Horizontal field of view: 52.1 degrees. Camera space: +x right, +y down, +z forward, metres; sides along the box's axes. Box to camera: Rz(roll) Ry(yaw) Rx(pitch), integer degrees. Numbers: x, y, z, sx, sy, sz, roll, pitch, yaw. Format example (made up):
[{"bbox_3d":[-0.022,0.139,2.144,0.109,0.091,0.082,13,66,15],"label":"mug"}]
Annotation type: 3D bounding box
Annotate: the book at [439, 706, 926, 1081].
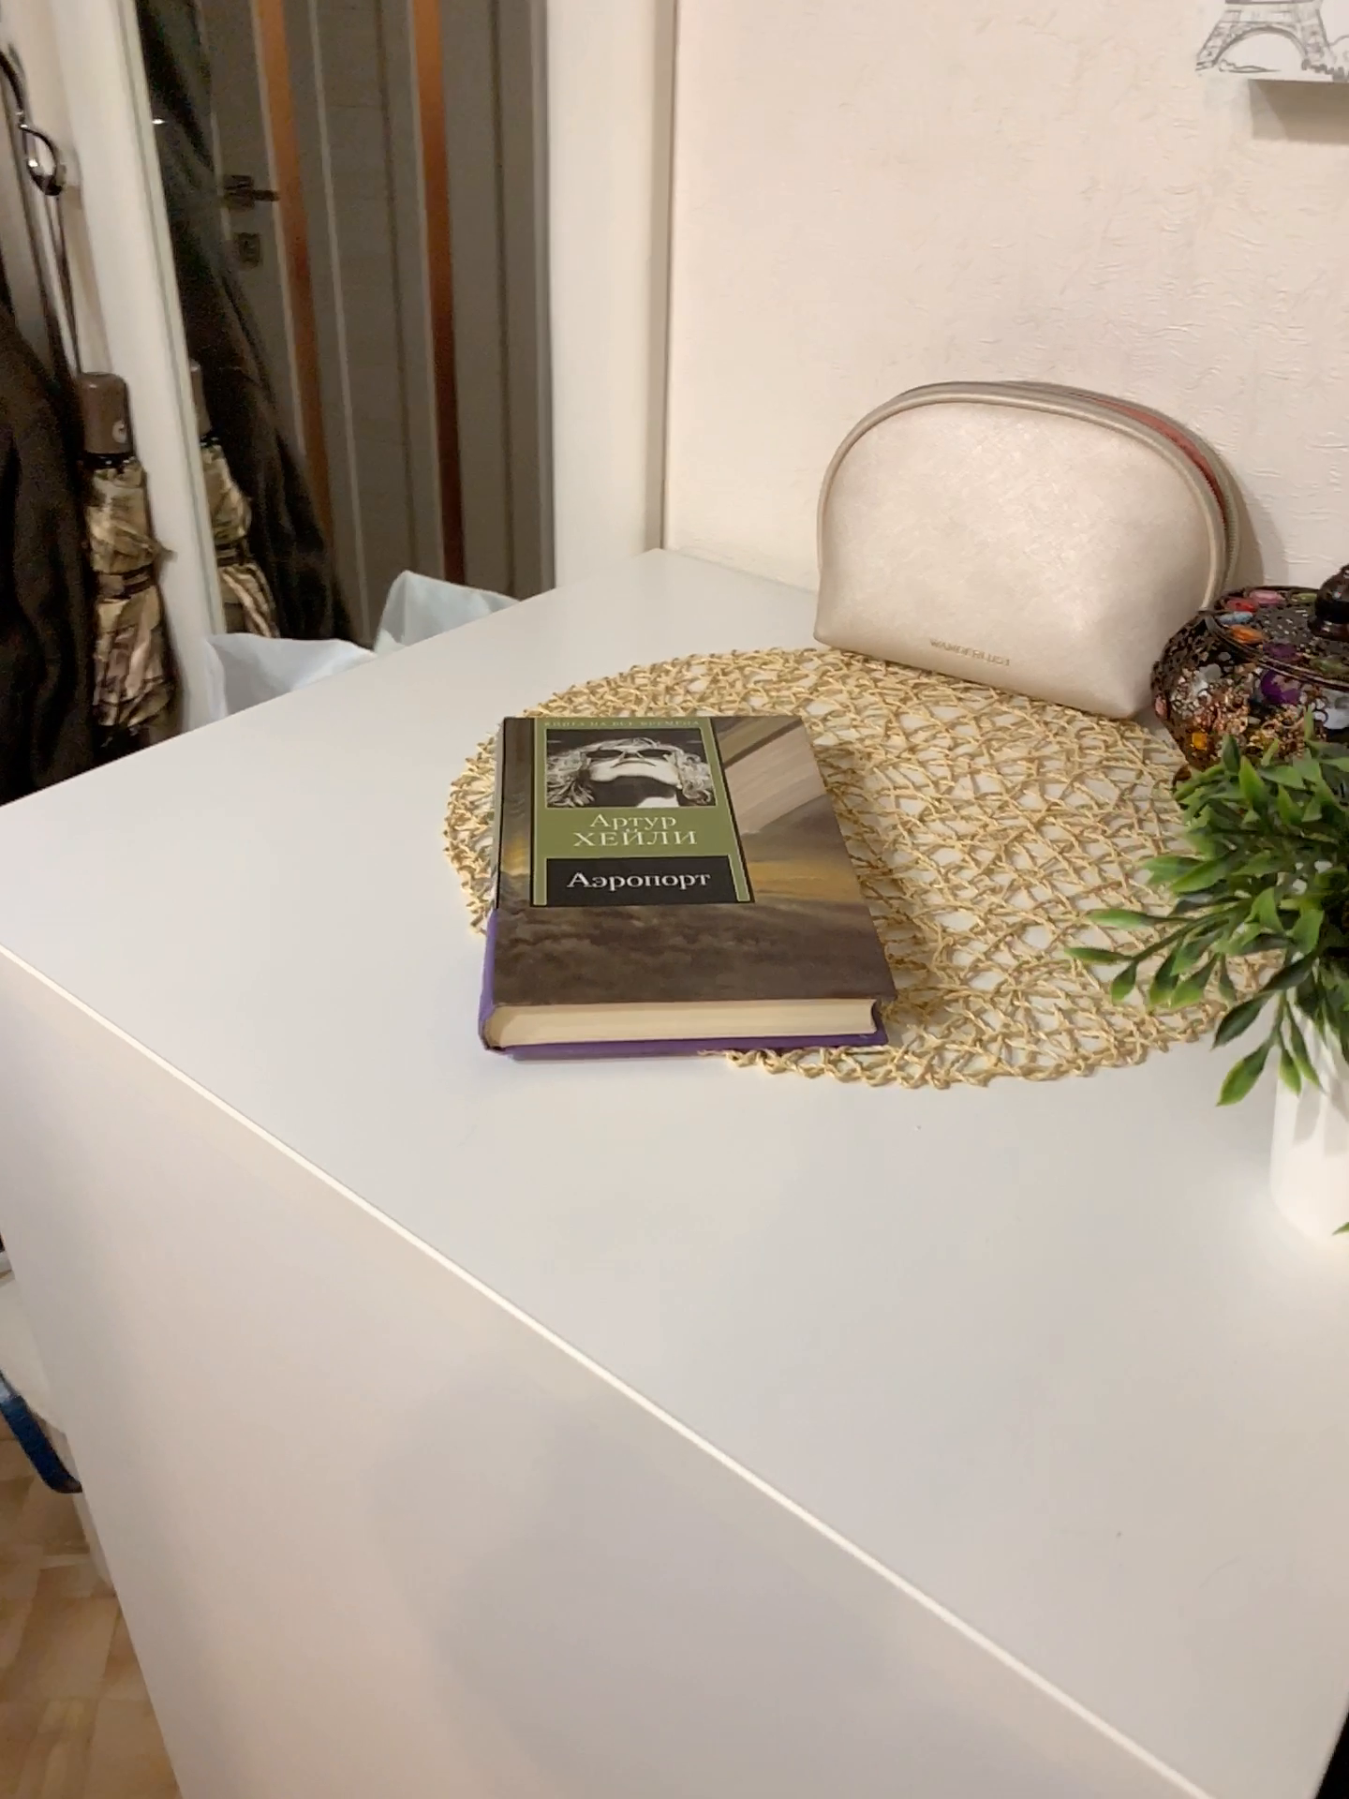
[{"bbox_3d":[-0.005,-0.016,0.527,0.150,0.020,0.232,-1,32,-4],"label":"book"}]
